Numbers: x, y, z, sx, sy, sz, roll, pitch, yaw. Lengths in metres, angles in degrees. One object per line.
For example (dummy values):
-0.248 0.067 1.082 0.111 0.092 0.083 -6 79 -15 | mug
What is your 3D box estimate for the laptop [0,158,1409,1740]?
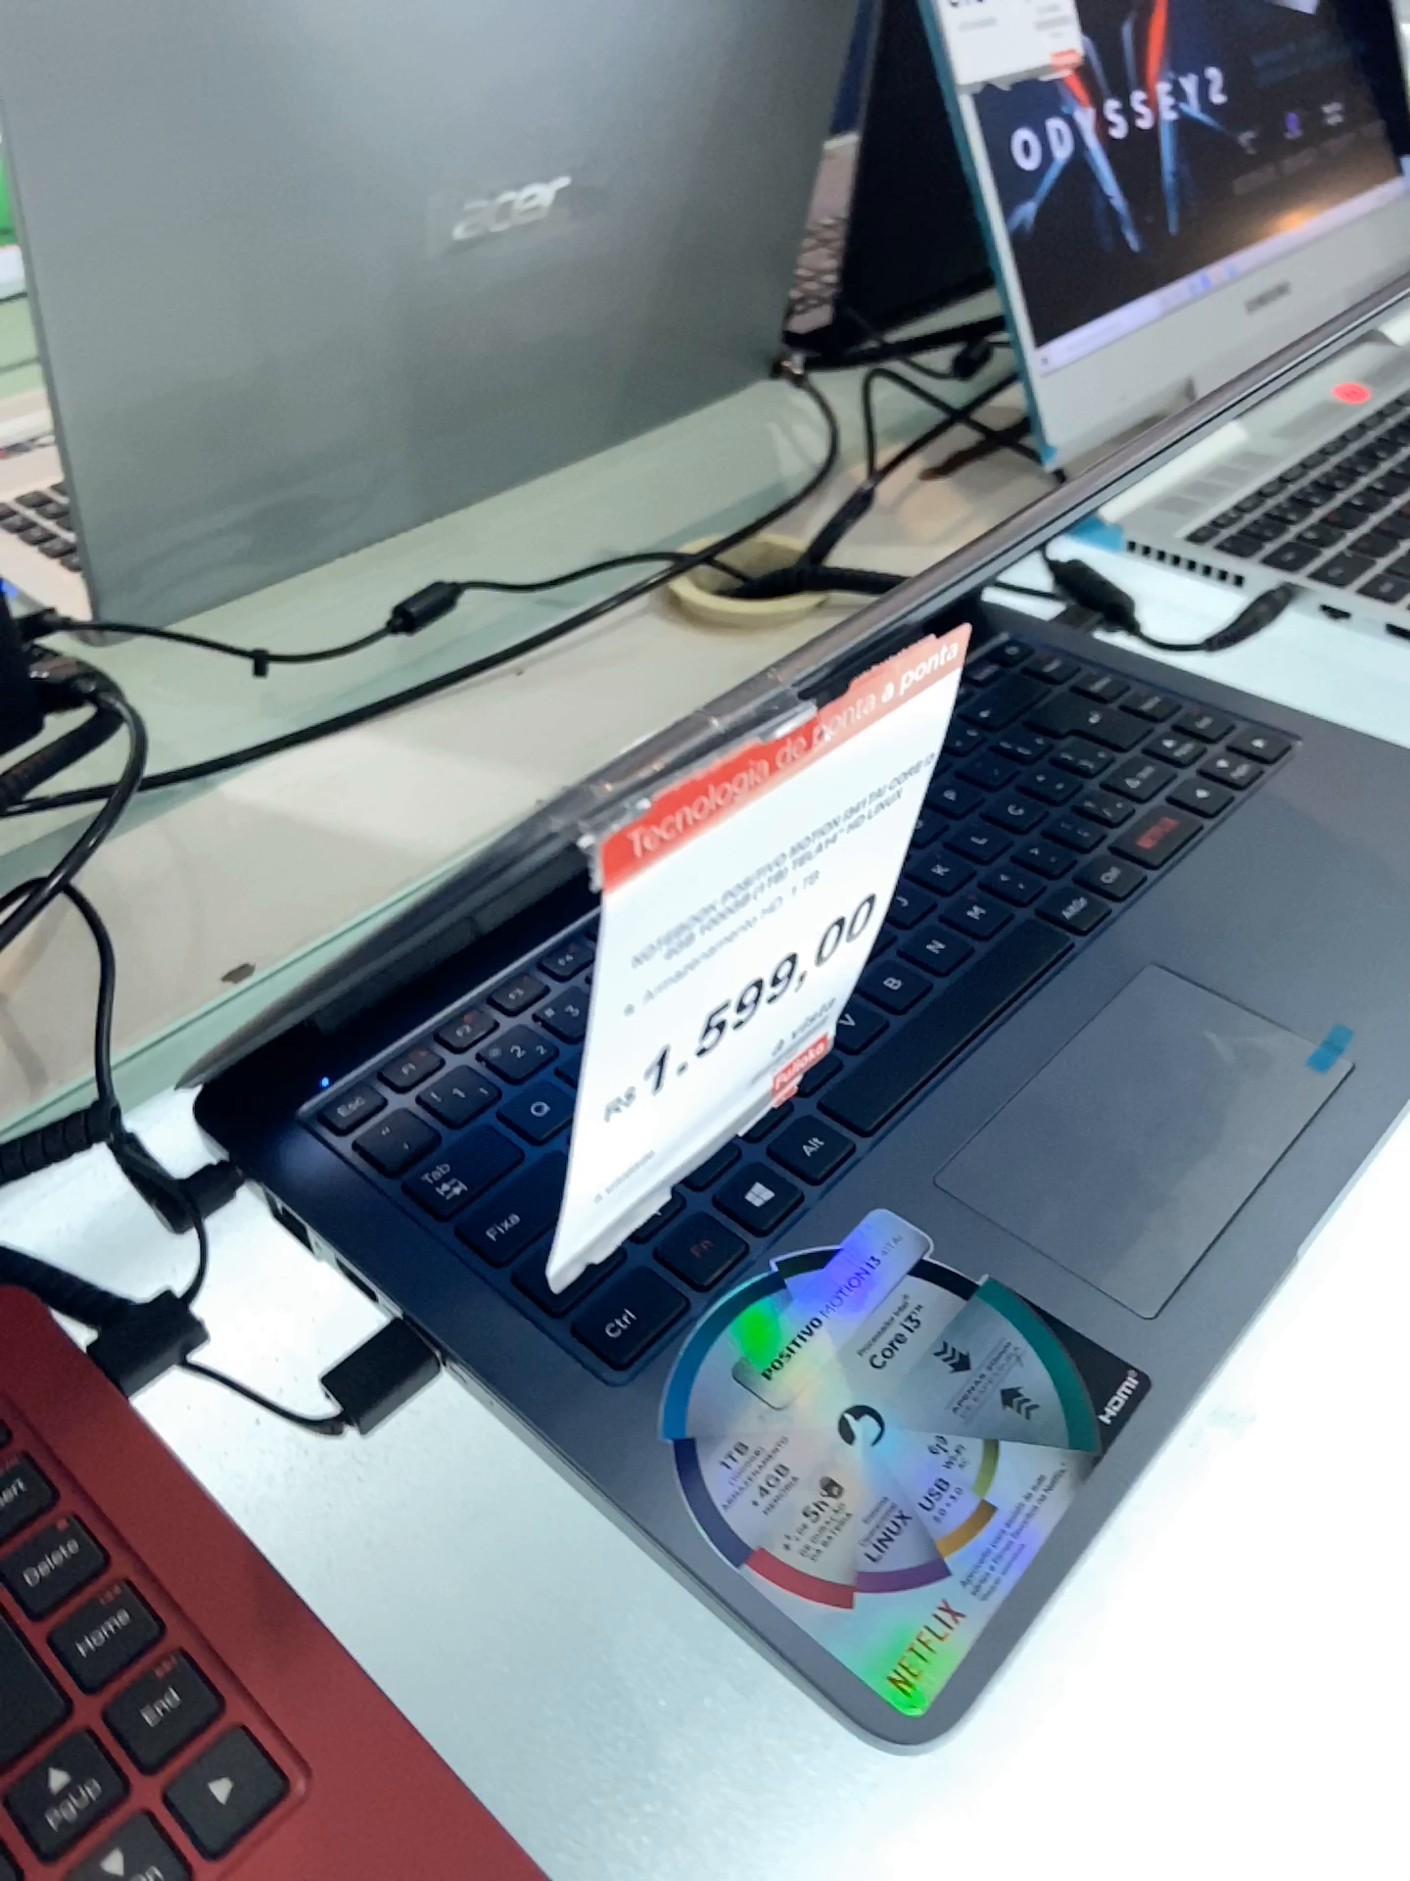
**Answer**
0.062 -0.051 0.328 0.211 0.145 0.317 29 49 32 | laptop
